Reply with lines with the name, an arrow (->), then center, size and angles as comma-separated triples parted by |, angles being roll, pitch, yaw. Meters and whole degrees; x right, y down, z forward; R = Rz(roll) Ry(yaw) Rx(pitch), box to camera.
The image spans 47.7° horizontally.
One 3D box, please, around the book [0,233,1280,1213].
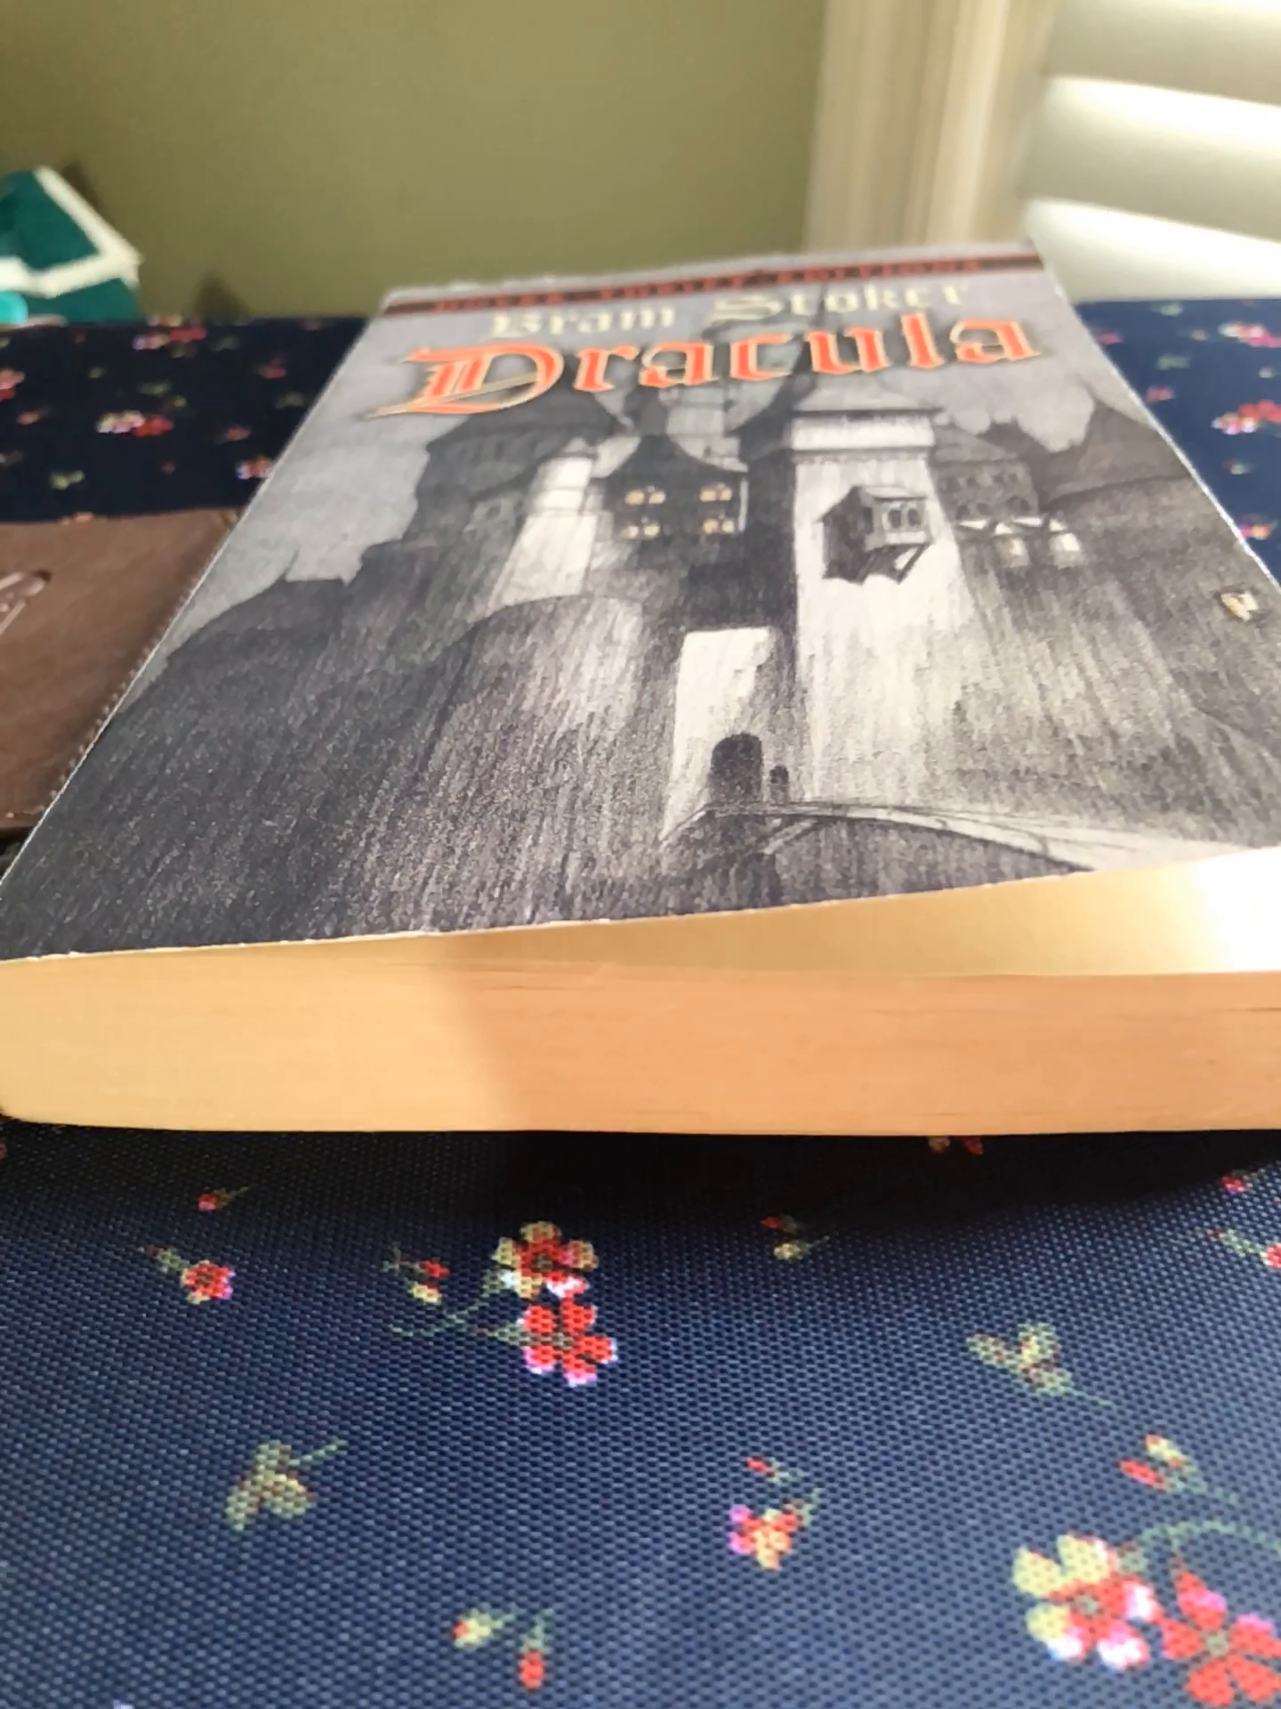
book -> 0.007, -0.041, 0.208 | 0.130, 0.033, 0.204 | -2, 37, 5
